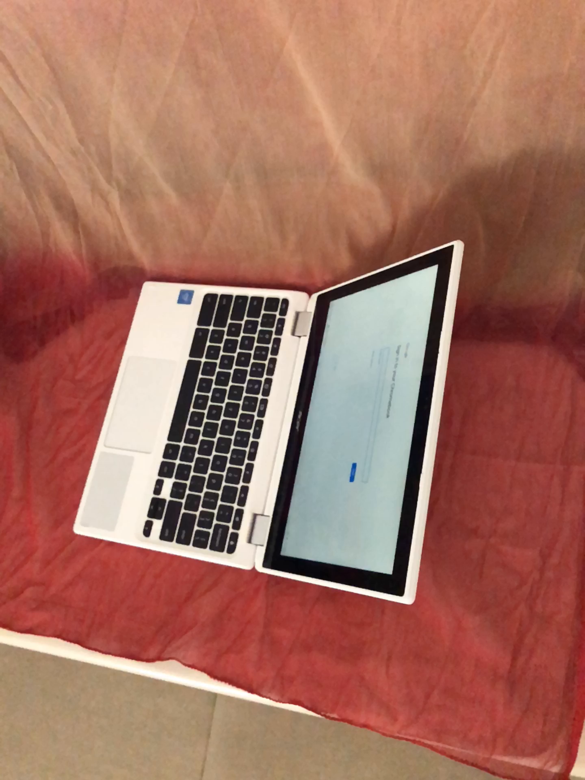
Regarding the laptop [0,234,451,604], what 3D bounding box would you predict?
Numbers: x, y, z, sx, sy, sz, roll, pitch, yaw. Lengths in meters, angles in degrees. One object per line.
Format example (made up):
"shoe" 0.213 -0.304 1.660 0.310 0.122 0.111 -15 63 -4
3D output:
"laptop" -0.049 0.015 0.580 0.338 0.113 0.263 7 73 19
